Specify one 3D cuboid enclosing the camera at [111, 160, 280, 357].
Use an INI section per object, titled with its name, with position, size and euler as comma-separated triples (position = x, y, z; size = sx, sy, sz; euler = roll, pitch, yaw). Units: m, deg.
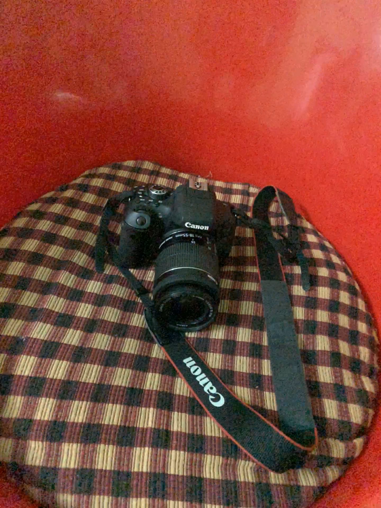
[camera]
position = 0.000, 0.006, 0.414
size = 0.140, 0.130, 0.138
euler = 9, 48, -5
